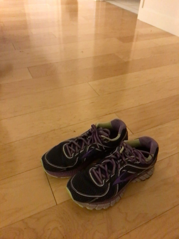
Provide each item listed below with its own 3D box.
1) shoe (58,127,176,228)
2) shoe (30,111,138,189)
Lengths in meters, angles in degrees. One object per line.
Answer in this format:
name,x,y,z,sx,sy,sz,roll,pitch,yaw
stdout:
shoe,0.071,0.128,0.493,0.271,0.069,0.121,-21,46,-26
shoe,-0.012,0.071,0.542,0.271,0.069,0.111,-18,45,-24
